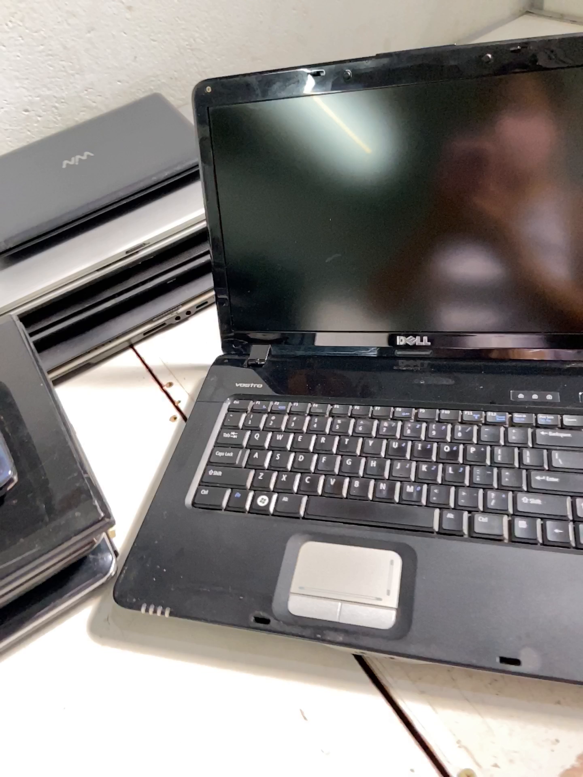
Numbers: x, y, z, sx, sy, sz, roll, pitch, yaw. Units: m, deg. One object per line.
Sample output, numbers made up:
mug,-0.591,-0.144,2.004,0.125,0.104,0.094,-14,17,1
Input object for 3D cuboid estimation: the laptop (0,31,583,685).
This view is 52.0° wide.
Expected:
laptop,0.073,-0.047,0.410,0.365,0.203,0.354,2,47,18
